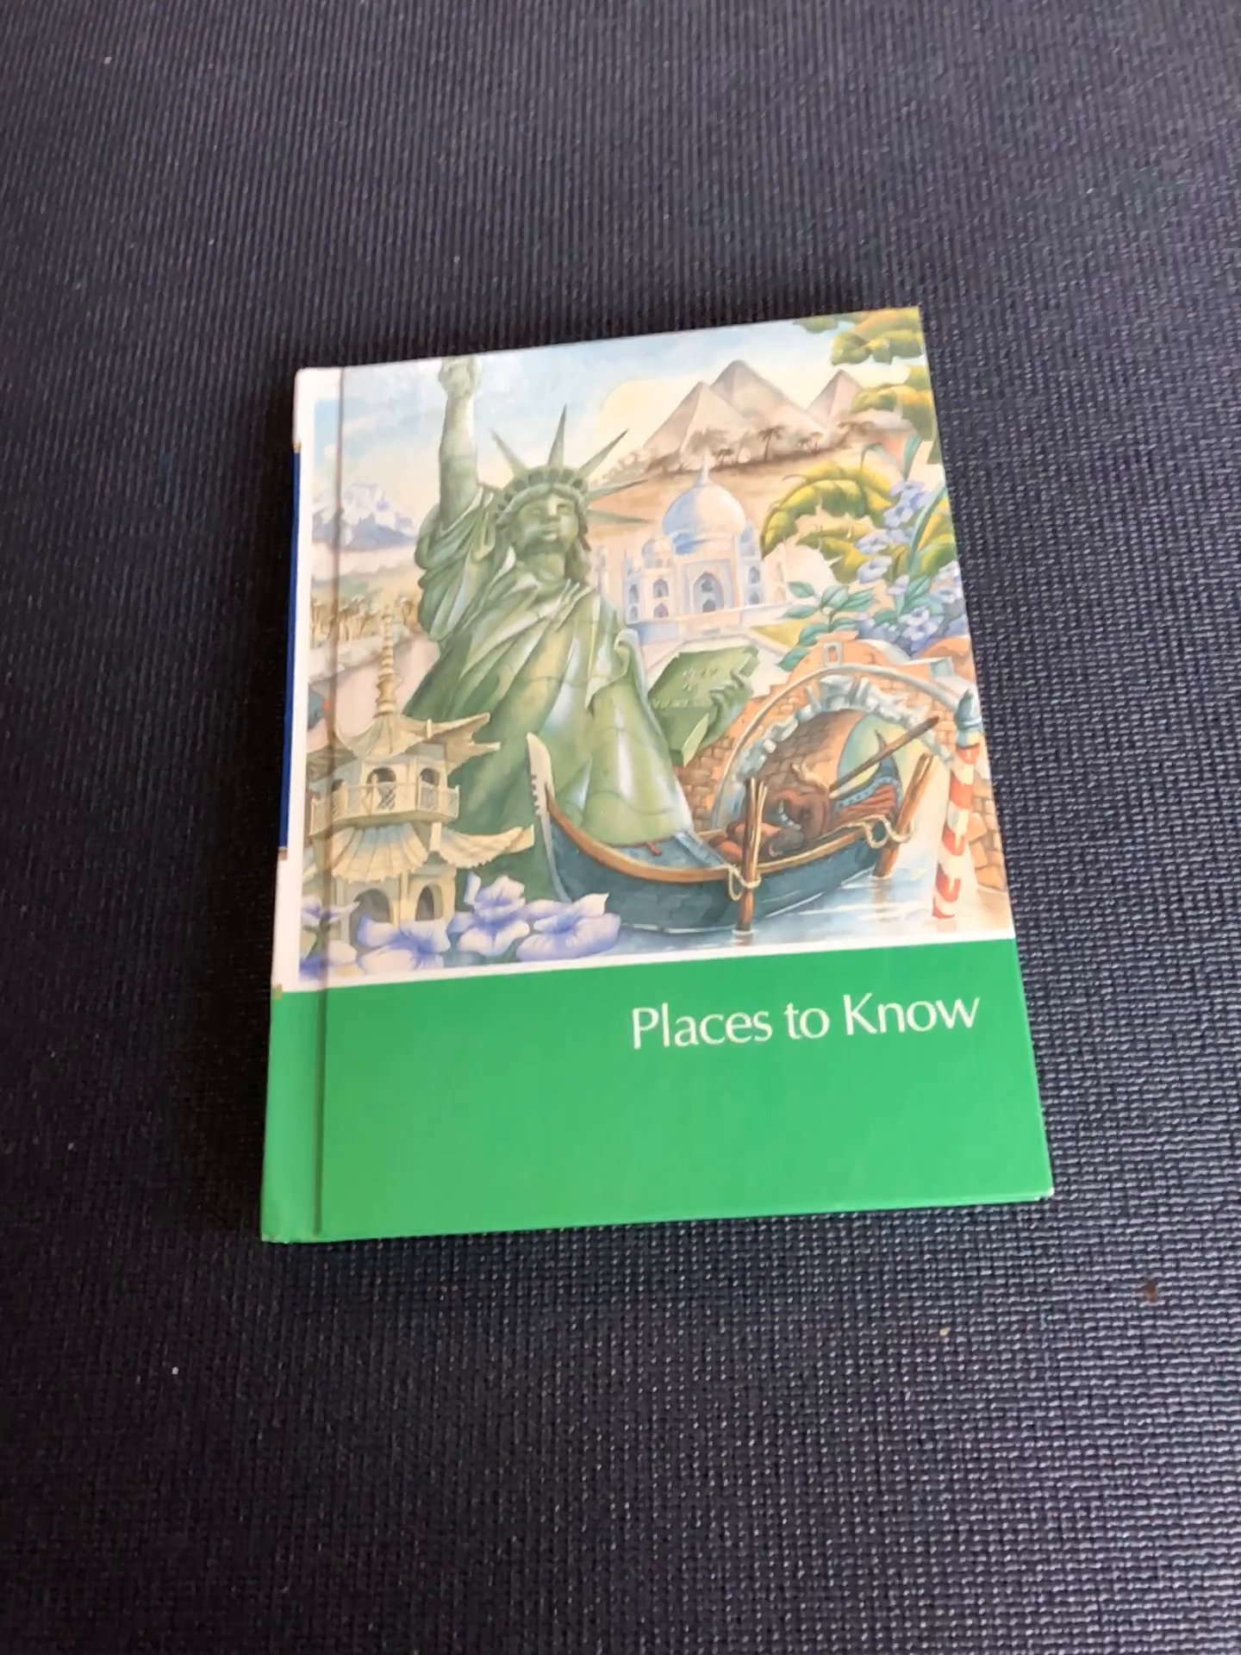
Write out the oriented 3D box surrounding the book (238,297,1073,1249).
[{"bbox_3d":[0.001,-0.023,0.371,0.190,0.030,0.250,-4,69,3],"label":"book"}]
